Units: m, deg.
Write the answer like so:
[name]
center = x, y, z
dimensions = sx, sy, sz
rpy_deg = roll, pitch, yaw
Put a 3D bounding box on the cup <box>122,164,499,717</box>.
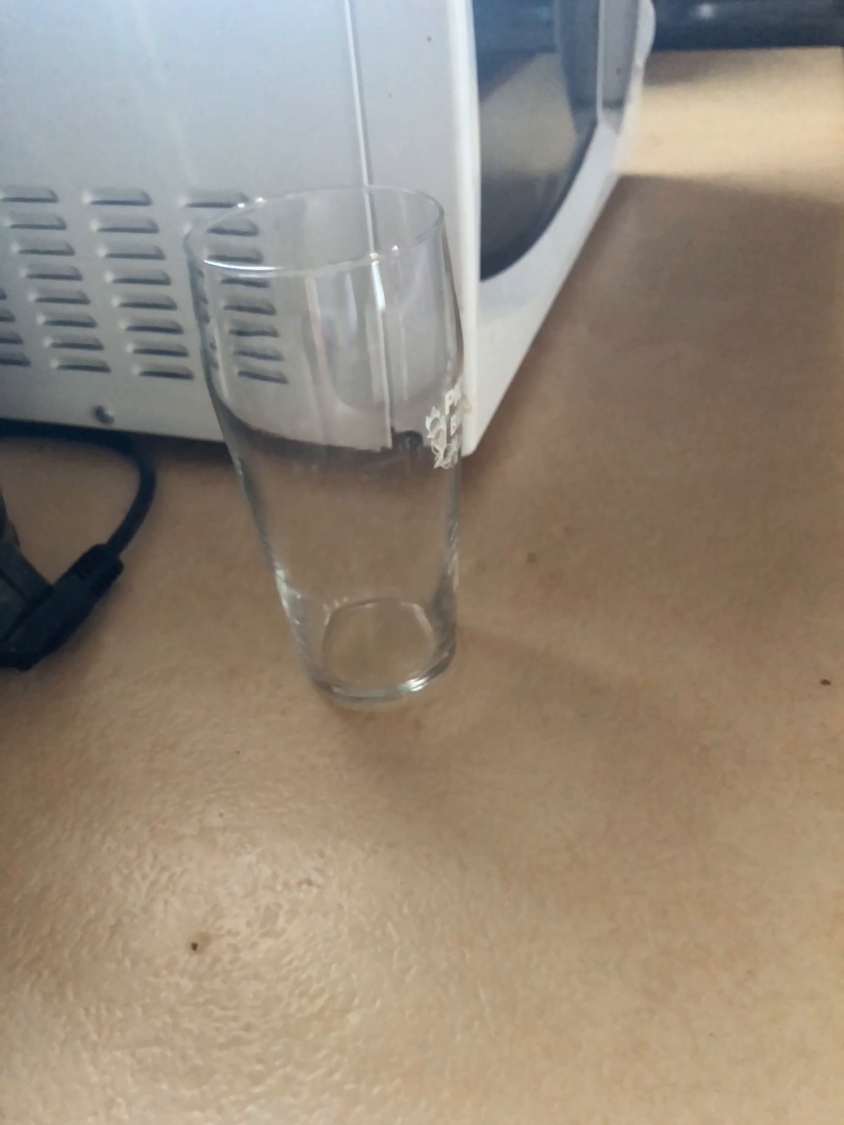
[cup]
center = -0.018, -0.030, 0.259
dimensions = 0.070, 0.129, 0.070
rpy_deg = -4, 36, 3
